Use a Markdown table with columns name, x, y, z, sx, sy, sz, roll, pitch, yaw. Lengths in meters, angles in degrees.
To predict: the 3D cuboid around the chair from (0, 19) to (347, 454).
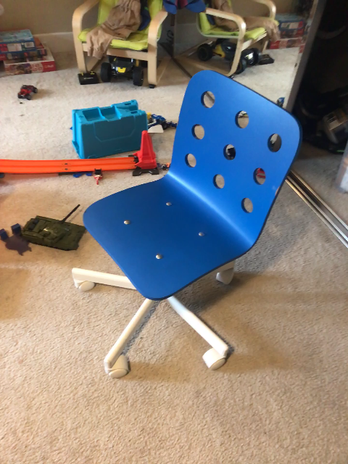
| name | x | y | z | sx | sy | sz | roll | pitch | yaw |
| --- | --- | --- | --- | --- | --- | --- | --- | --- | --- |
| chair | -0.005 | 0.007 | 1.040 | 0.673 | 0.814 | 0.622 | -27 | 56 | -27 |
